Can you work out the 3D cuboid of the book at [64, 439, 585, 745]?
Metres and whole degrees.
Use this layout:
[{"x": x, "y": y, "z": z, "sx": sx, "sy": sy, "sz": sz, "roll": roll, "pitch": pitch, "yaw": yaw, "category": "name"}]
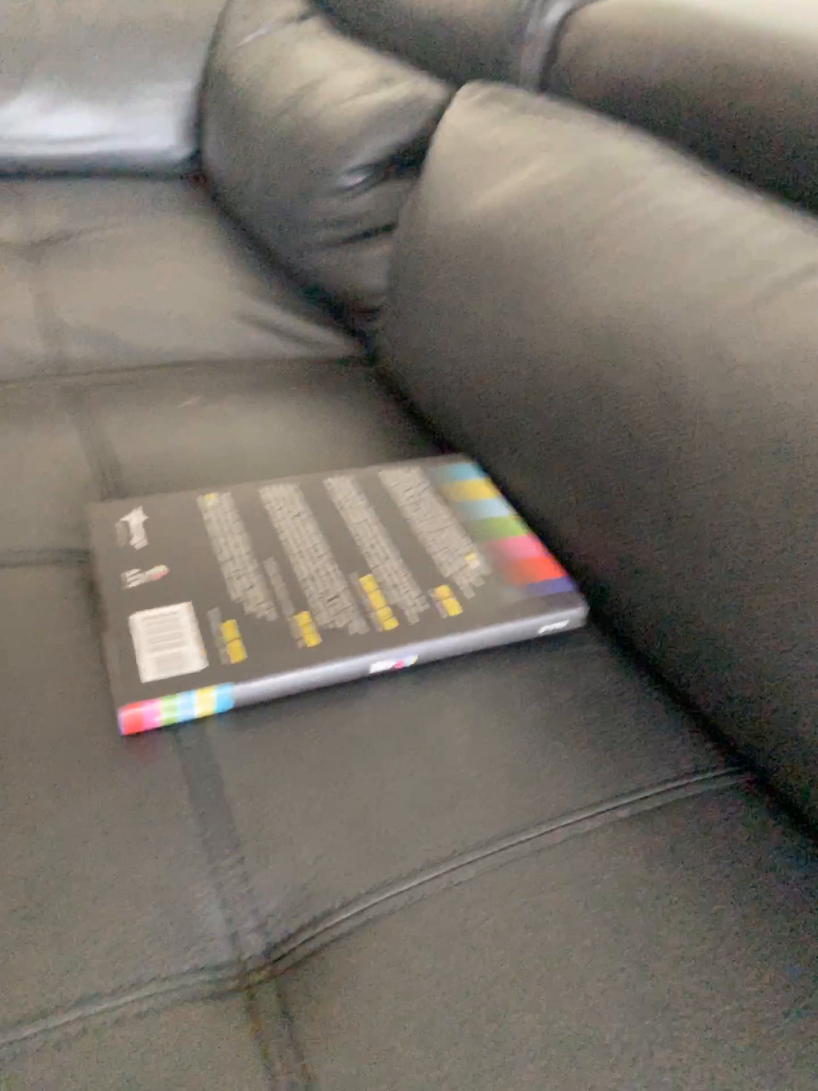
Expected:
[{"x": -0.051, "y": 0.008, "z": 0.449, "sx": 0.236, "sy": 0.030, "sz": 0.161, "roll": -9, "pitch": 39, "yaw": -20, "category": "book"}]
